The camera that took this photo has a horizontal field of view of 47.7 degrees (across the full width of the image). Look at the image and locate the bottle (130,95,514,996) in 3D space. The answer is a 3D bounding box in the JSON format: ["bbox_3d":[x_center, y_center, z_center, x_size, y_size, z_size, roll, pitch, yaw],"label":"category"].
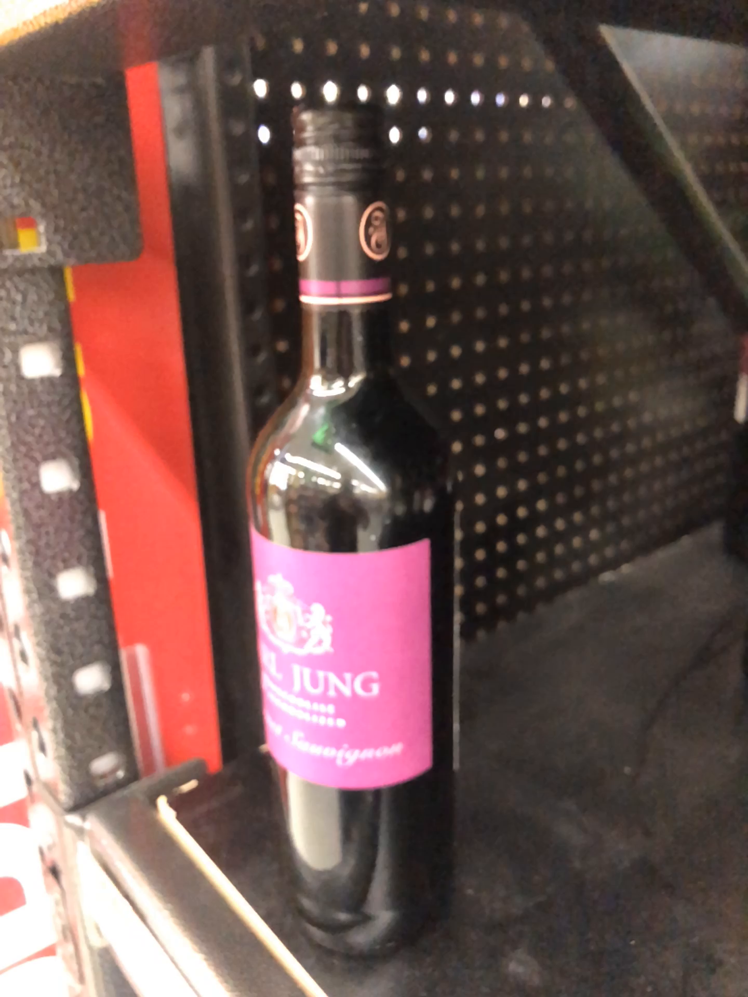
[{"bbox_3d":[-0.009,0.023,0.297,0.080,0.288,0.080,-2,20,1],"label":"bottle"}]
